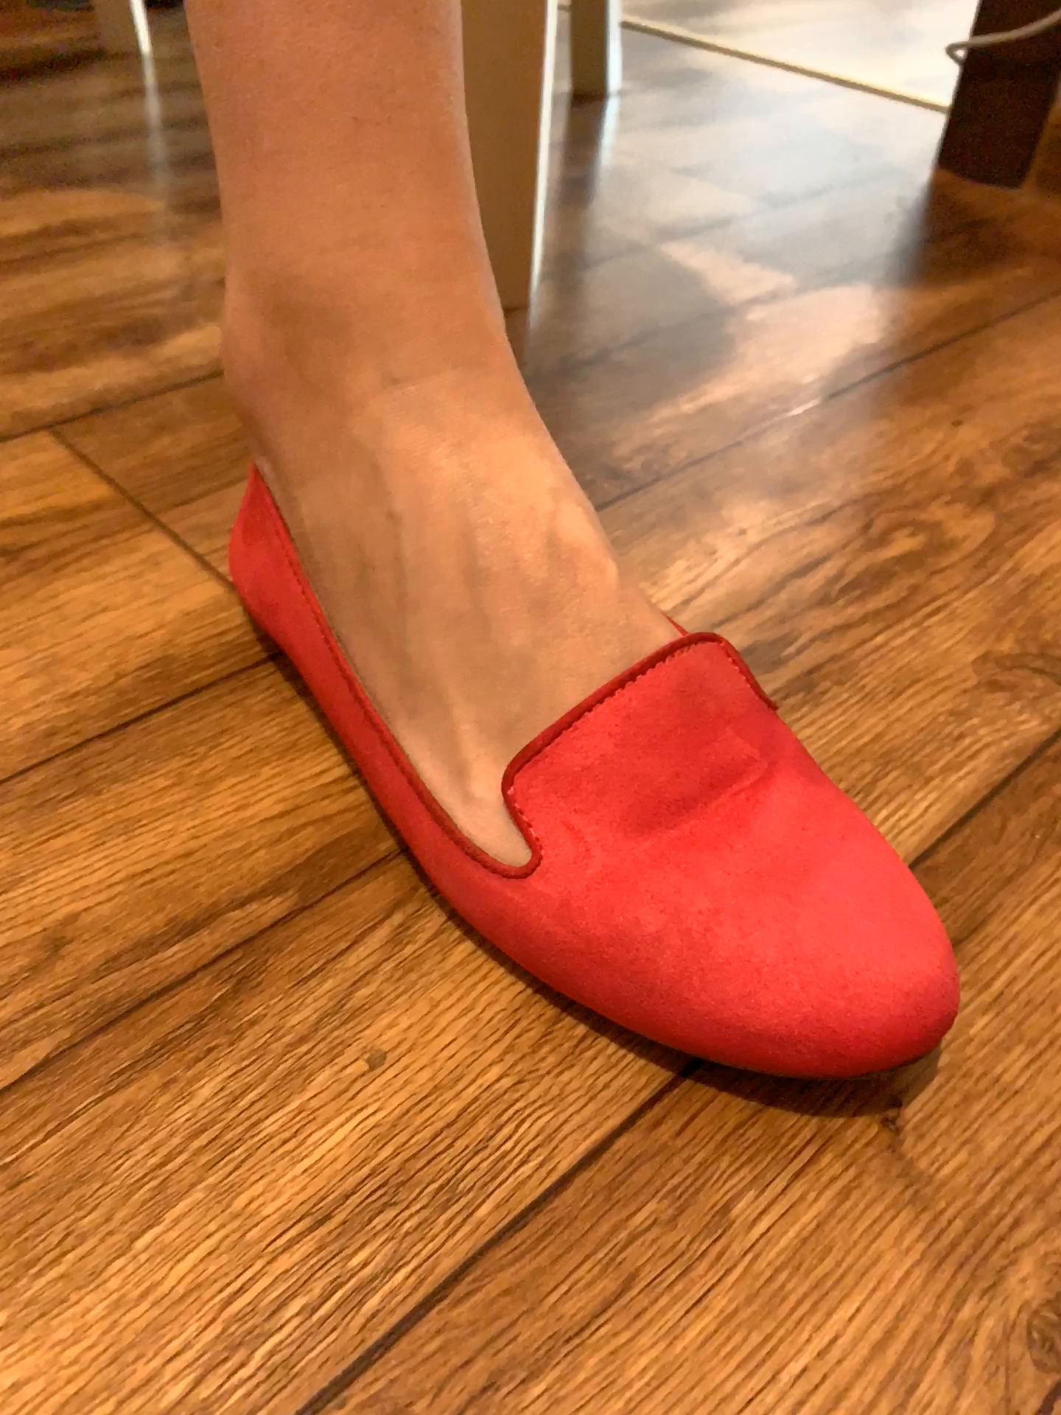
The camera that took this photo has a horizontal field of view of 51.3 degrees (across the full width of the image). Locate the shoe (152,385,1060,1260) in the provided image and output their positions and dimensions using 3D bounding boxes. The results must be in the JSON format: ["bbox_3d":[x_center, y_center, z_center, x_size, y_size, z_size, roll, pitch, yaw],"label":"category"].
[{"bbox_3d":[0.001,0.002,0.266,0.086,0.060,0.221,-26,49,-29],"label":"shoe"}]
